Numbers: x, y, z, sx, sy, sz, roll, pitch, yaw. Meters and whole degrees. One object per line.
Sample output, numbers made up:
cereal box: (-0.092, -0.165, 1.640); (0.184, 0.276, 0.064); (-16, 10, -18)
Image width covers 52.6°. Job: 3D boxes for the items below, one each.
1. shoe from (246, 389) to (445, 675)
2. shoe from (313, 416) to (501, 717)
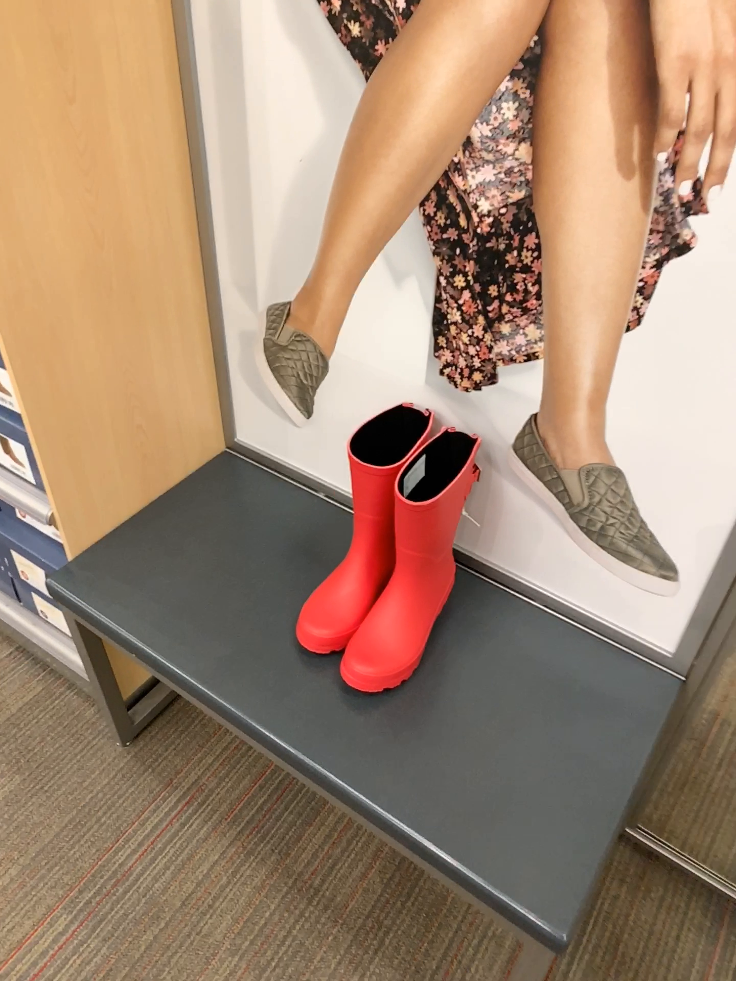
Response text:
shoe: (-0.023, 0.049, 0.979); (0.106, 0.249, 0.271); (24, 45, 23)
shoe: (0.049, 0.090, 0.943); (0.106, 0.249, 0.271); (22, 44, 21)
